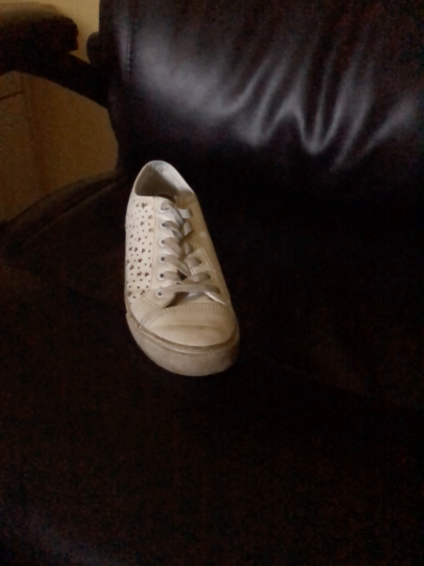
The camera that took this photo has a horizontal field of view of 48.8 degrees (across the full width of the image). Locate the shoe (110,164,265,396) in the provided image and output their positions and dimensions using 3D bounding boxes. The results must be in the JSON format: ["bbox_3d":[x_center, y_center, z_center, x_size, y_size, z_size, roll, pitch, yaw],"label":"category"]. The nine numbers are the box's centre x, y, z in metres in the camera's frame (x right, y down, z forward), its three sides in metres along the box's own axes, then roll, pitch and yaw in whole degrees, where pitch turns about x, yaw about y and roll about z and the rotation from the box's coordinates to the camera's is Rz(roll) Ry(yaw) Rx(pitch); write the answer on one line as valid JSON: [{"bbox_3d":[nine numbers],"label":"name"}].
[{"bbox_3d":[-0.040,-0.026,0.455,0.100,0.099,0.261,-5,32,-12],"label":"shoe"}]
